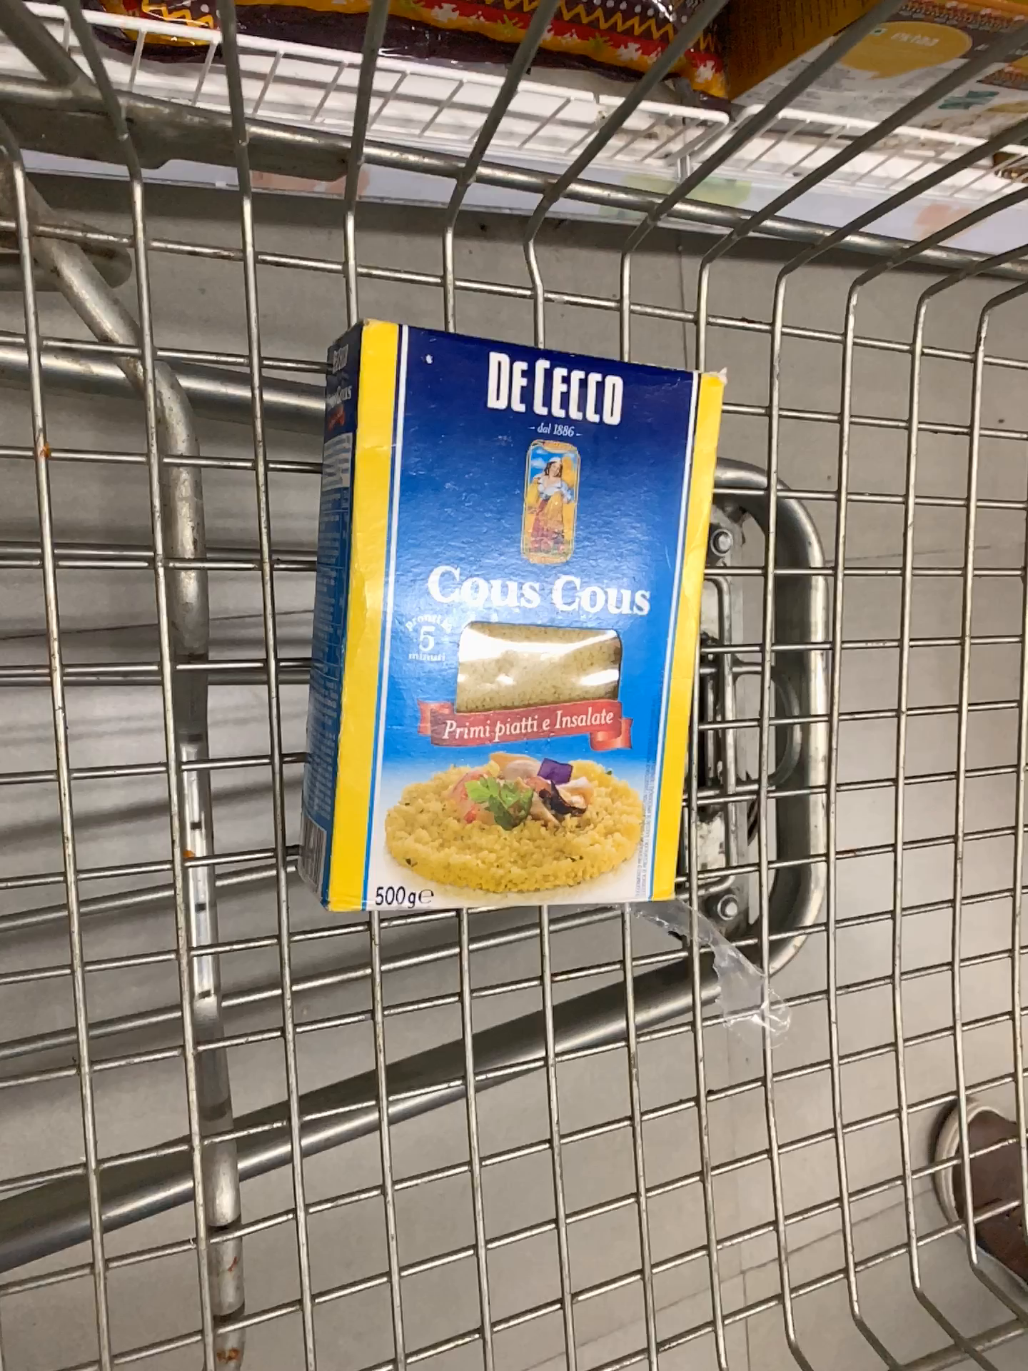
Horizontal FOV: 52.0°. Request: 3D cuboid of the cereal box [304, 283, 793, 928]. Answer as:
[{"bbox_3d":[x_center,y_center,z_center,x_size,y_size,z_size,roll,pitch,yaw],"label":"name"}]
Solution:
[{"bbox_3d":[0.008,-0.018,0.305,0.120,0.050,0.160,2,95,-20],"label":"cereal box"}]
